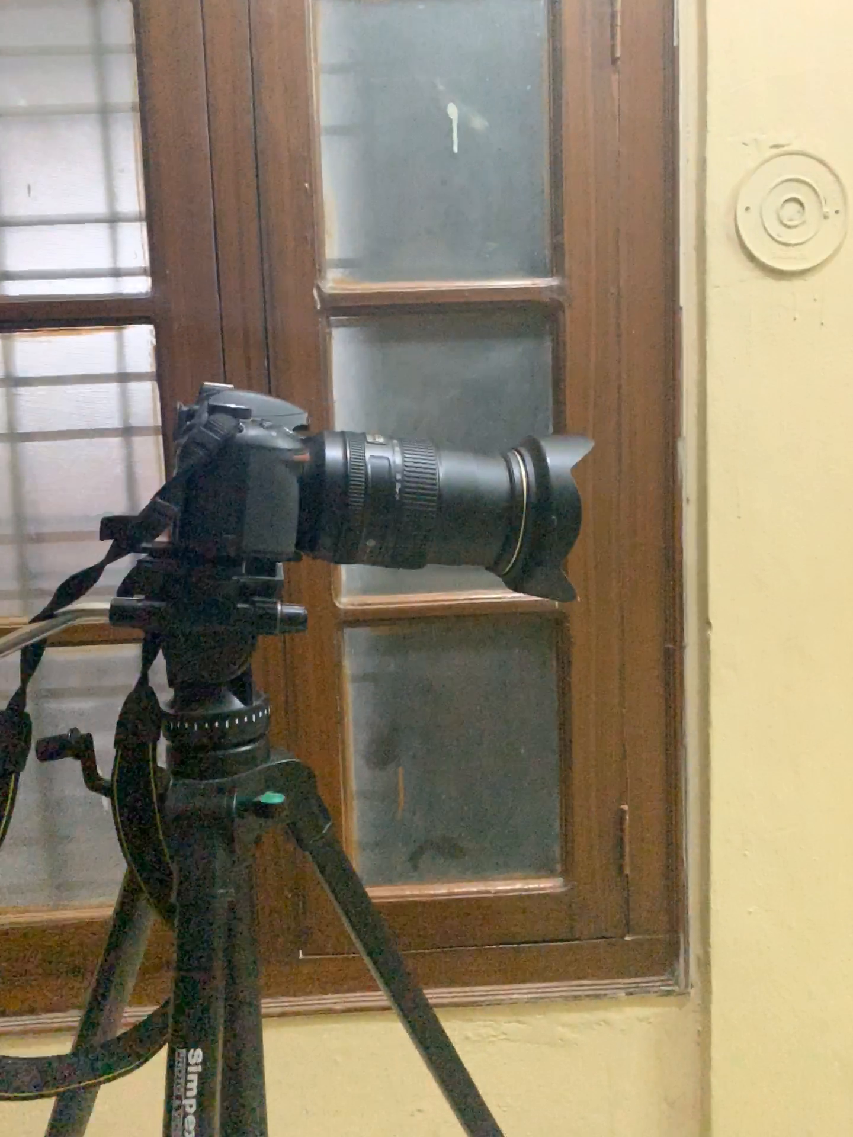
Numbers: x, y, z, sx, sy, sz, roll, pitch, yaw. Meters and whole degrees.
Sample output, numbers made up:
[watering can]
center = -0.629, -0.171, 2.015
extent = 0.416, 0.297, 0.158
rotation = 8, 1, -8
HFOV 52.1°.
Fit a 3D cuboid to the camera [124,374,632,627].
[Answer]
[camera]
center = -0.032, -0.040, 0.538
extent = 0.270, 0.120, 0.130
rotation = 3, 6, -11
